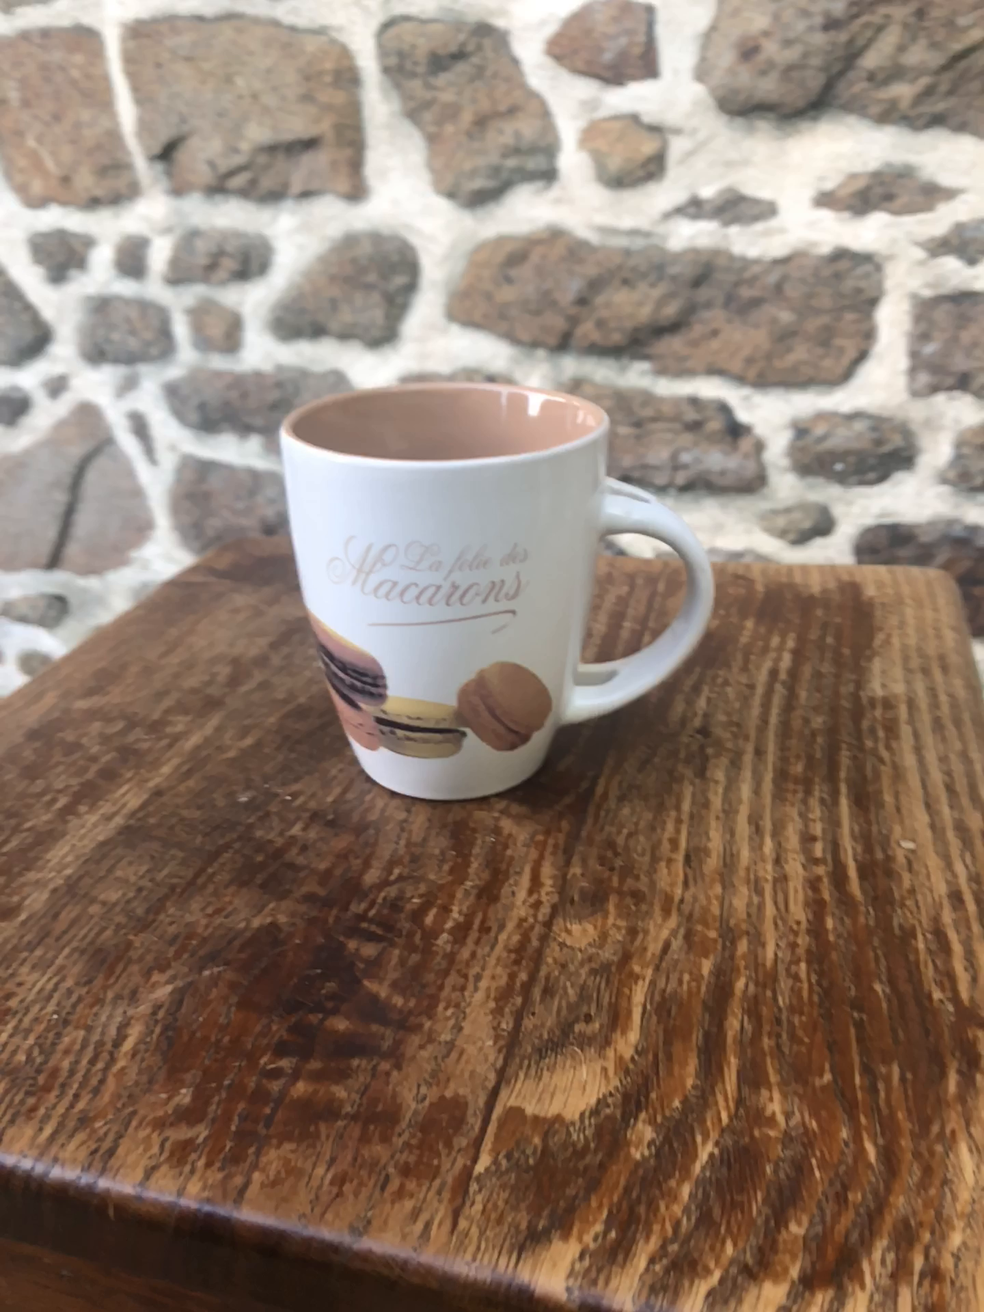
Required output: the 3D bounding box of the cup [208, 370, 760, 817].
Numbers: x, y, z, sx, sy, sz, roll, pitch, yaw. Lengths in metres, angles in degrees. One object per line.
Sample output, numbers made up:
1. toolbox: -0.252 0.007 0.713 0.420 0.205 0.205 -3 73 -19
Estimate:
1. cup: 0.001 -0.022 0.305 0.123 0.090 0.094 -2 26 2
